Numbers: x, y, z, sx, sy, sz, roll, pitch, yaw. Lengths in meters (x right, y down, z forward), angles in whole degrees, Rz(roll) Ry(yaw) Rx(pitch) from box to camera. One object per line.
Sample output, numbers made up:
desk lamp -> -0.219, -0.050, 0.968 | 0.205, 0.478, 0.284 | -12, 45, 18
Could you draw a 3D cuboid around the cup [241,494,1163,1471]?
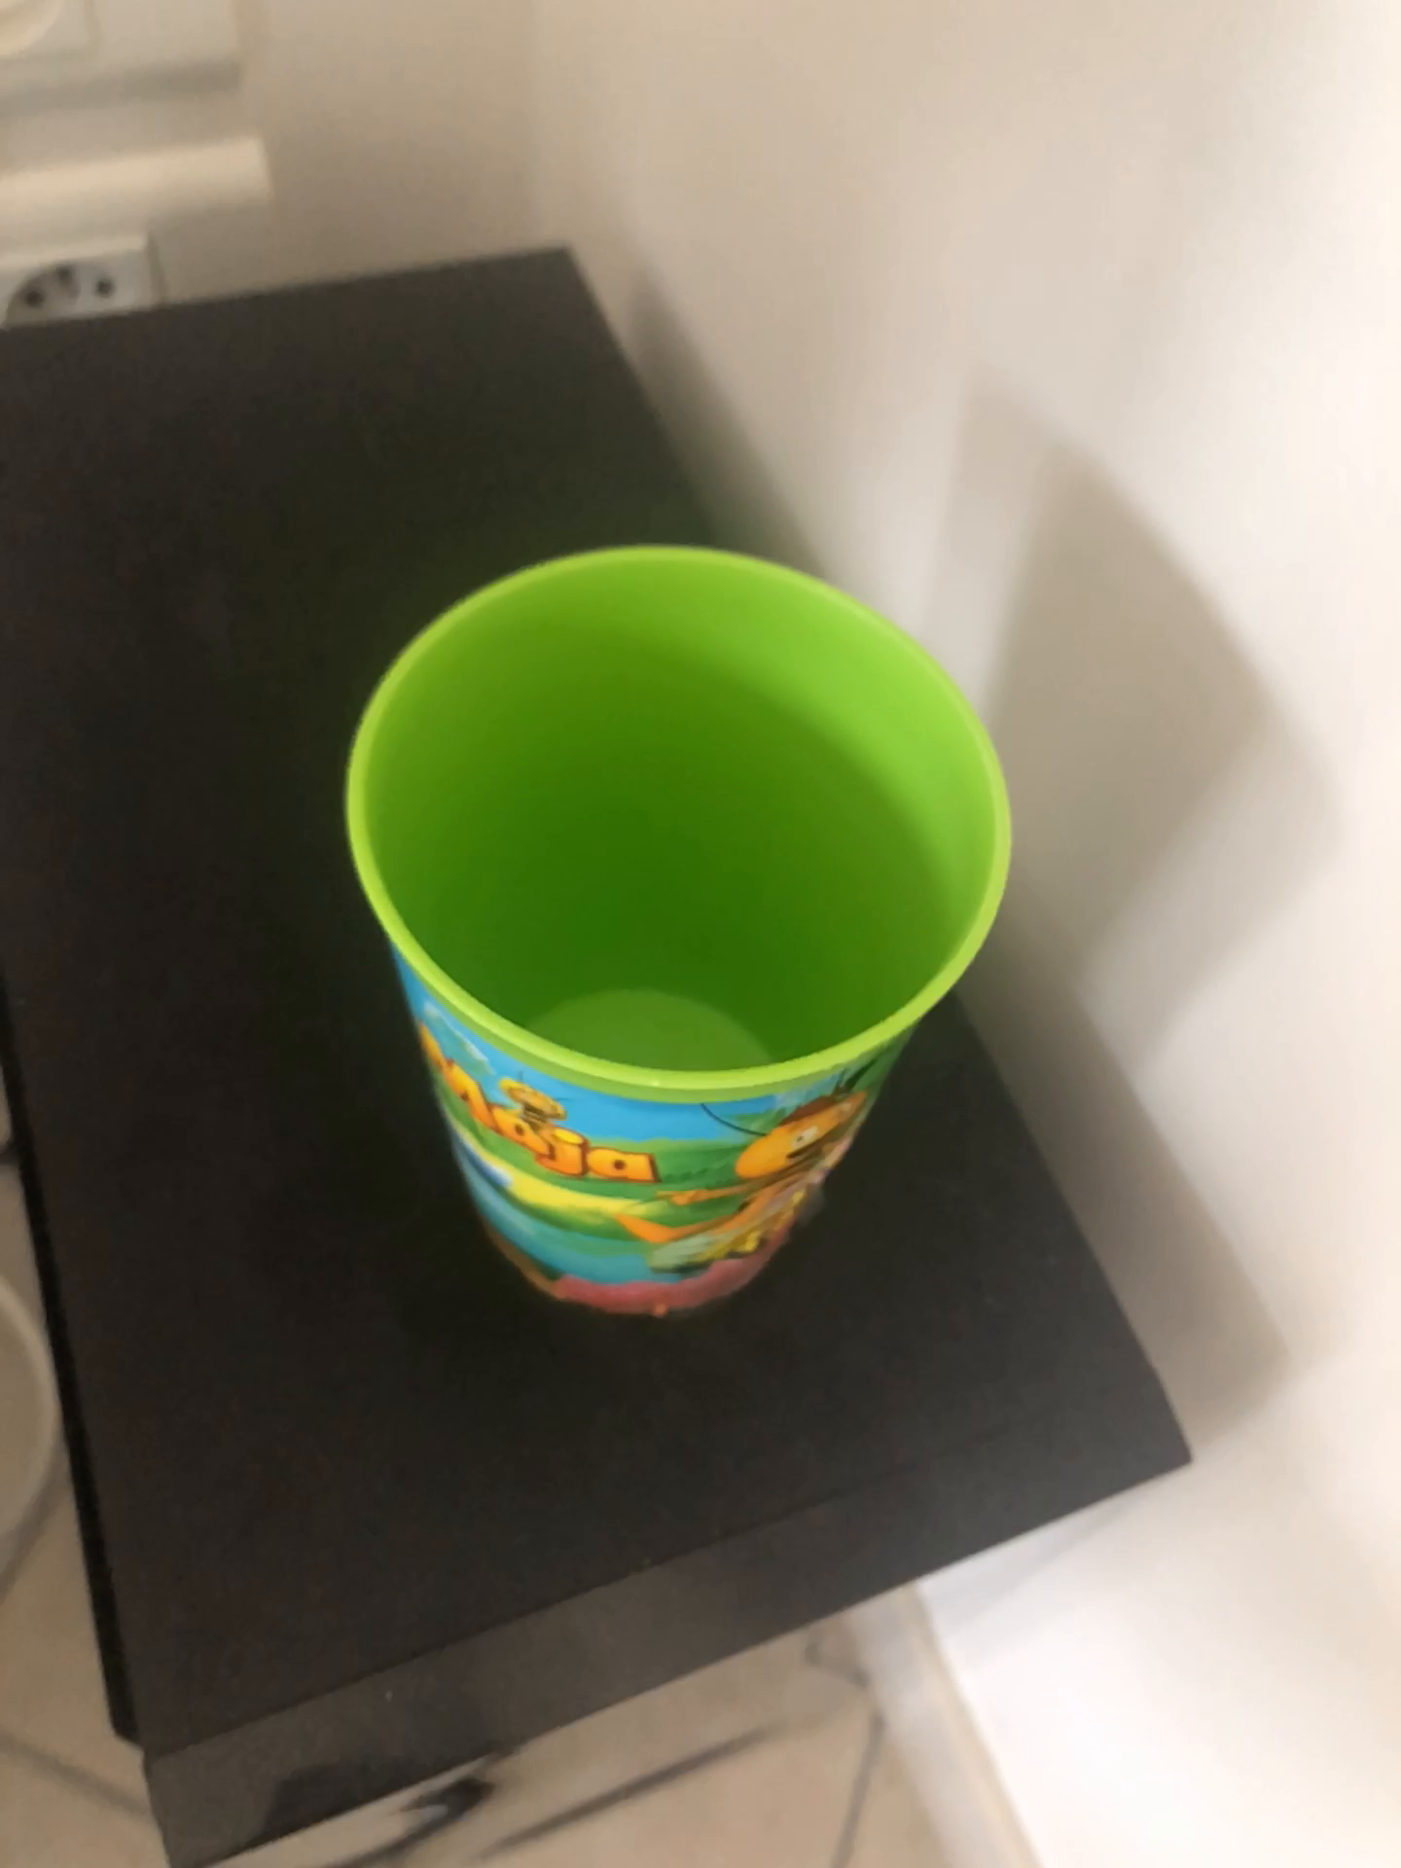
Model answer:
cup -> -0.006, 0.009, 0.220 | 0.080, 0.090, 0.080 | 3, 58, -5
